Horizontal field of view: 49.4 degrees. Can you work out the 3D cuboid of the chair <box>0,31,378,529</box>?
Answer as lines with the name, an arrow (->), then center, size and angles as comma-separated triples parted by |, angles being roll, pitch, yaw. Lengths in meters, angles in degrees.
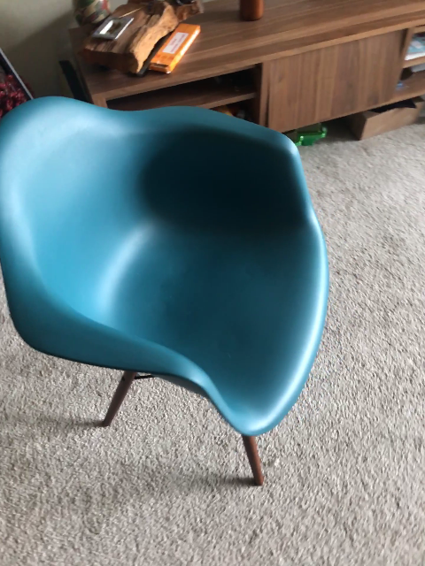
chair -> -0.068, 0.037, 0.974 | 0.560, 0.785, 0.584 | 15, 57, 16
